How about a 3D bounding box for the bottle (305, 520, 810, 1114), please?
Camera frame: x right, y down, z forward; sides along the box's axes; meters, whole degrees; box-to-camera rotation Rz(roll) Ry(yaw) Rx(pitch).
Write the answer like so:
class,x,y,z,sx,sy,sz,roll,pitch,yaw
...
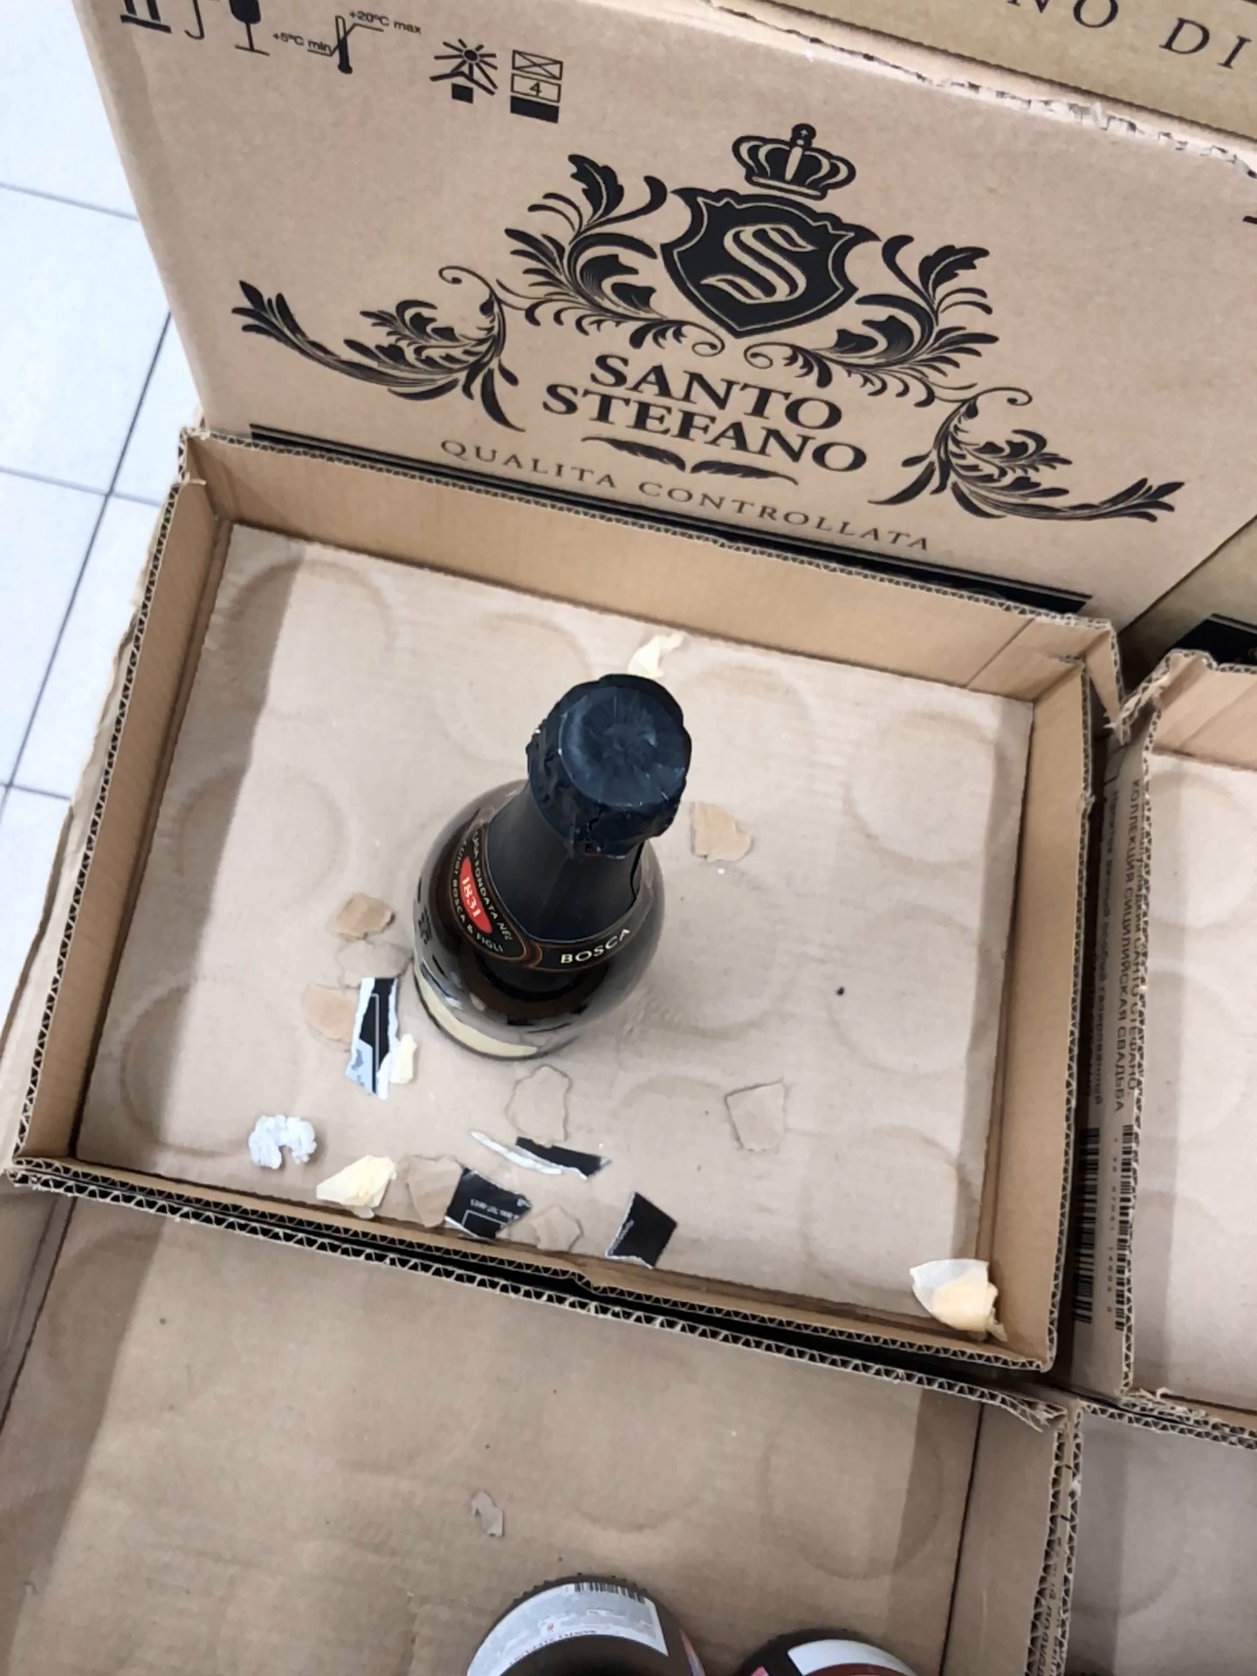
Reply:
class,x,y,z,sx,sy,sz,roll,pitch,yaw
bottle,-0.030,0.022,0.420,0.080,0.309,0.090,-12,78,-9
